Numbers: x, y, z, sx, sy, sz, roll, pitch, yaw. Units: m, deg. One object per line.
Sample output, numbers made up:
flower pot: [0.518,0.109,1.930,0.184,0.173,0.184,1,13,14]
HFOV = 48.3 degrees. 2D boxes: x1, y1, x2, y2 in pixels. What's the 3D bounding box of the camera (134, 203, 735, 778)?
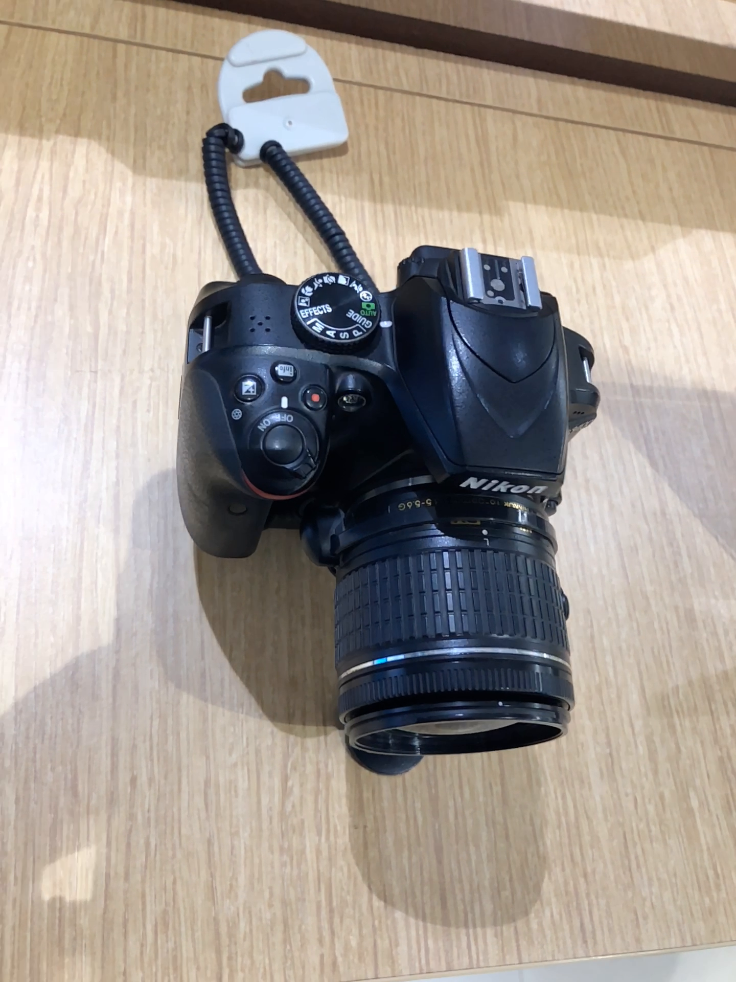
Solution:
camera: [0.009,0.007,0.223,0.133,0.084,0.120,3,64,-14]
